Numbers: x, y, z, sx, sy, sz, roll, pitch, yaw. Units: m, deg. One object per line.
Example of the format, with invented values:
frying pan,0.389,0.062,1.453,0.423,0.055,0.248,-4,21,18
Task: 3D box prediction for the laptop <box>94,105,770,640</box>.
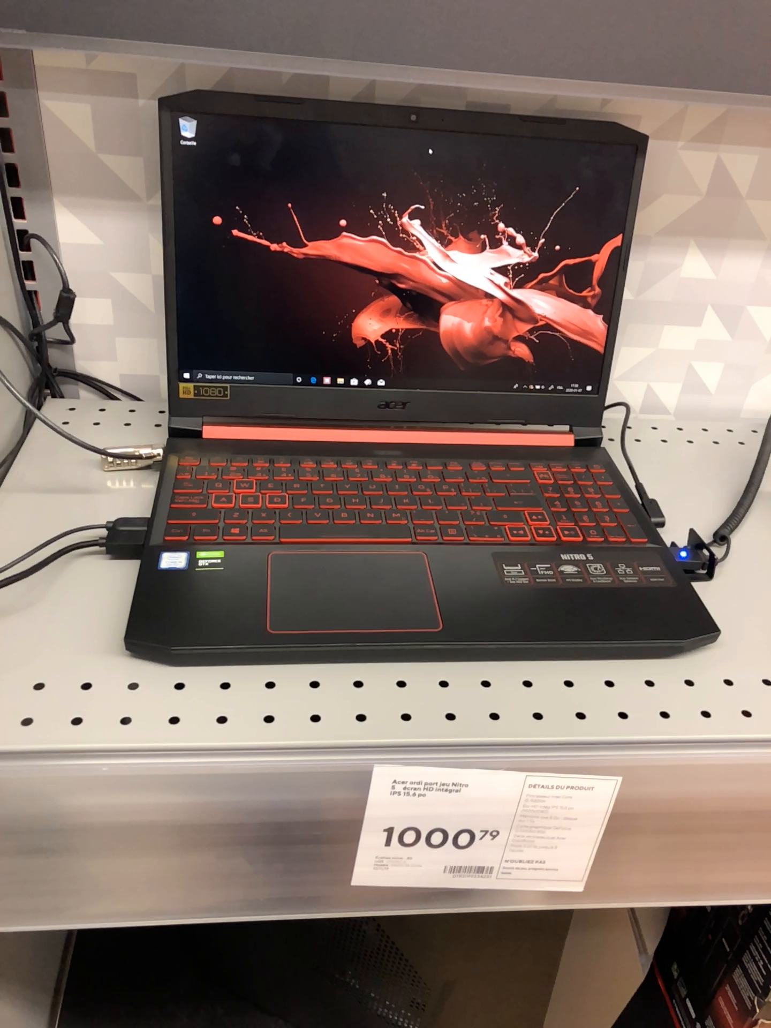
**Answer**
laptop,0.029,-0.105,0.573,0.361,0.241,0.282,0,35,-9
